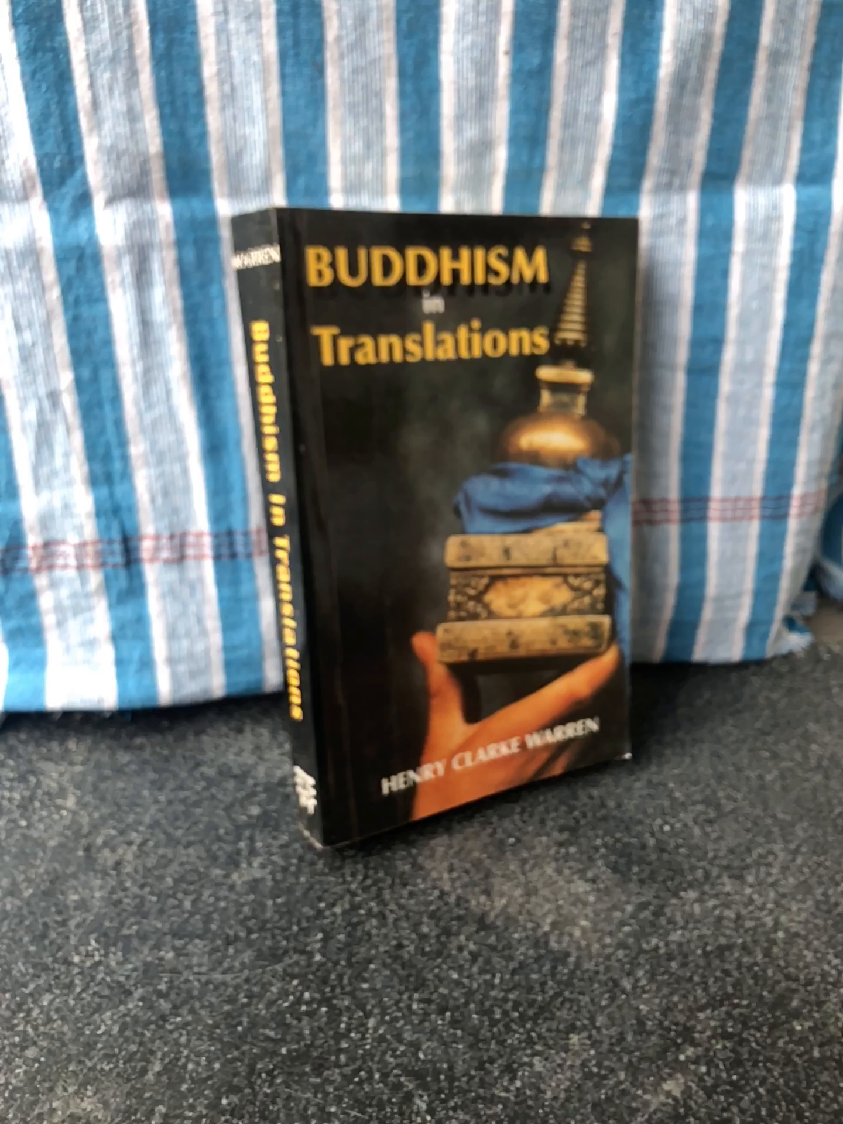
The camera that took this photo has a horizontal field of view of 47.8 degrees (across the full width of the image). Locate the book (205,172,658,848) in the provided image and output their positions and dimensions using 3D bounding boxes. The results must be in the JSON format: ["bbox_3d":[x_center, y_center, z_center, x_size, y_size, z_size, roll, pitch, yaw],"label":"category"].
[{"bbox_3d":[0.009,-0.024,0.348,0.140,0.210,0.050,-9,8,-28],"label":"book"}]
